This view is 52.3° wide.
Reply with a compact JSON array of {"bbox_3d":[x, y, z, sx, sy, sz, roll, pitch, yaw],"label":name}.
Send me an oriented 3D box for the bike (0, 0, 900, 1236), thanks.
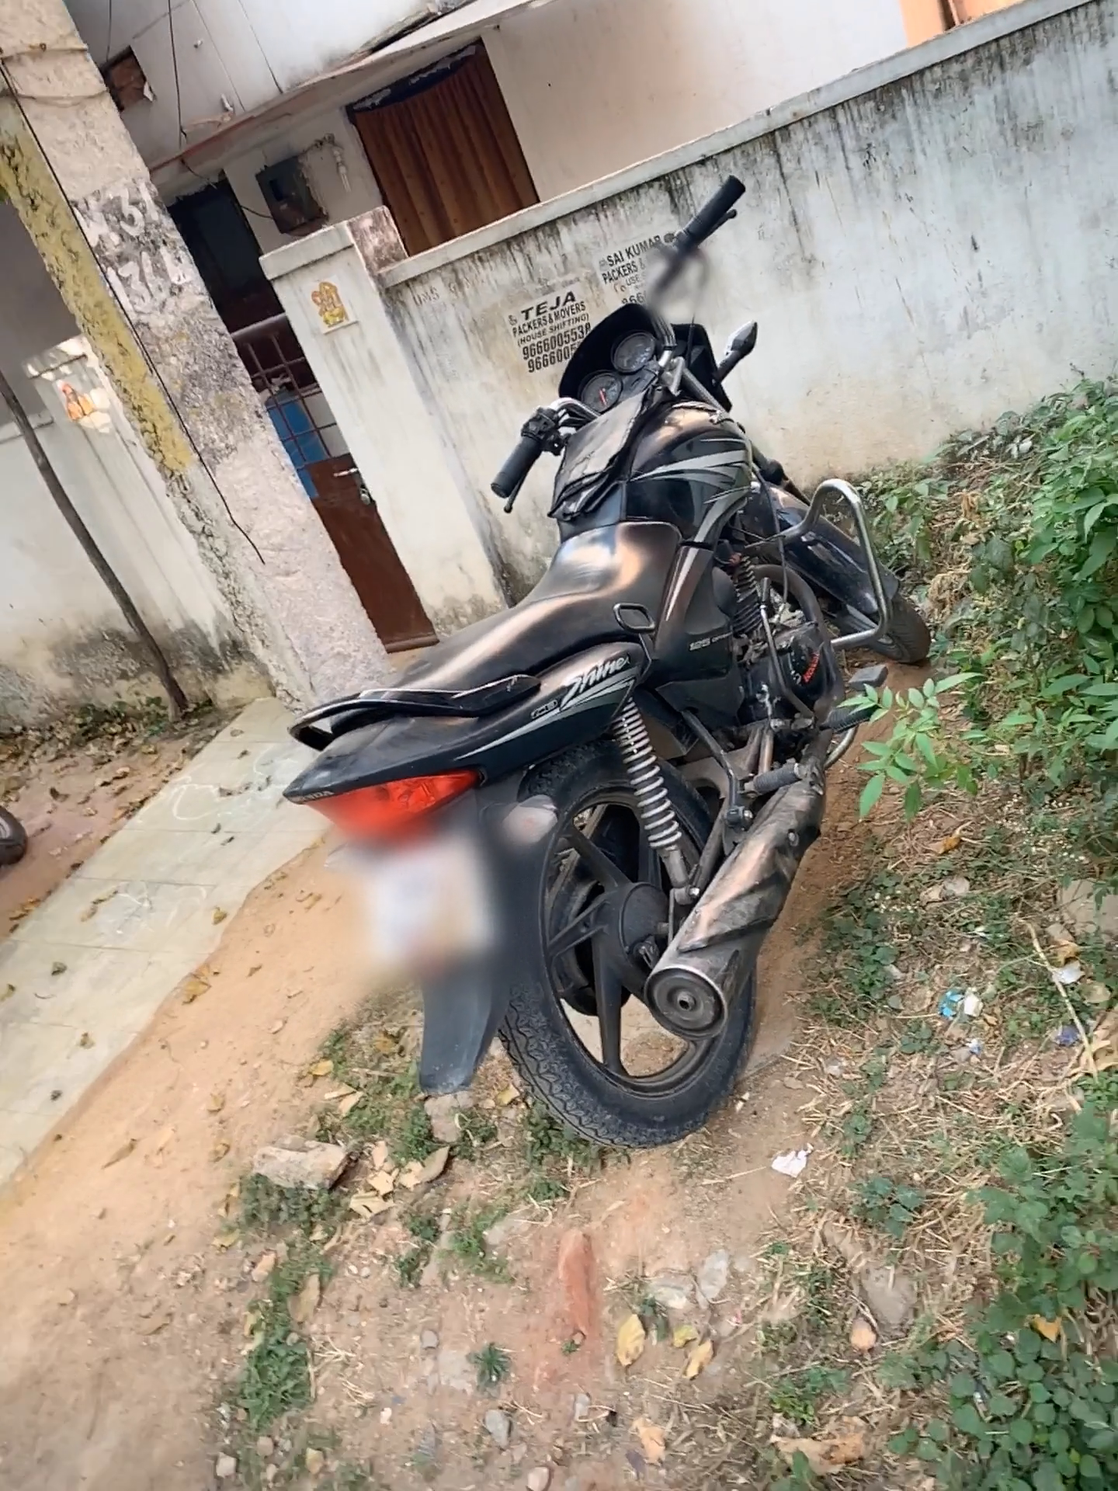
[{"bbox_3d":[-0.007,-0.267,1.771,0.737,1.100,1.243,-8,39,29],"label":"bike"}]
